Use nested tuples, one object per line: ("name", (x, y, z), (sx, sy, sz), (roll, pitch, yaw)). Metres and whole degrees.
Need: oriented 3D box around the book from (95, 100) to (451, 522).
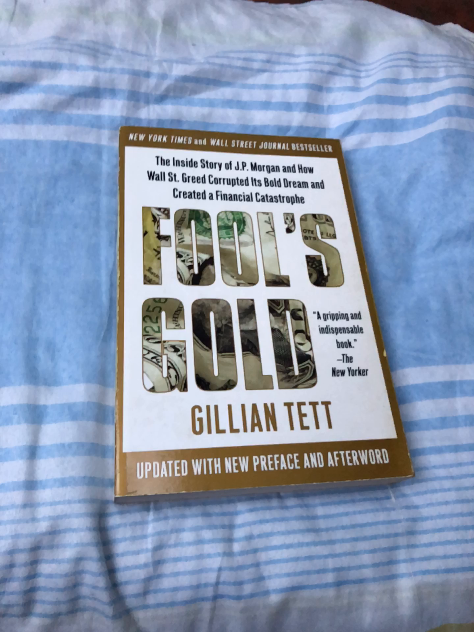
("book", (0.010, -0.016, 0.290), (0.150, 0.040, 0.230), (1, 62, -9))
